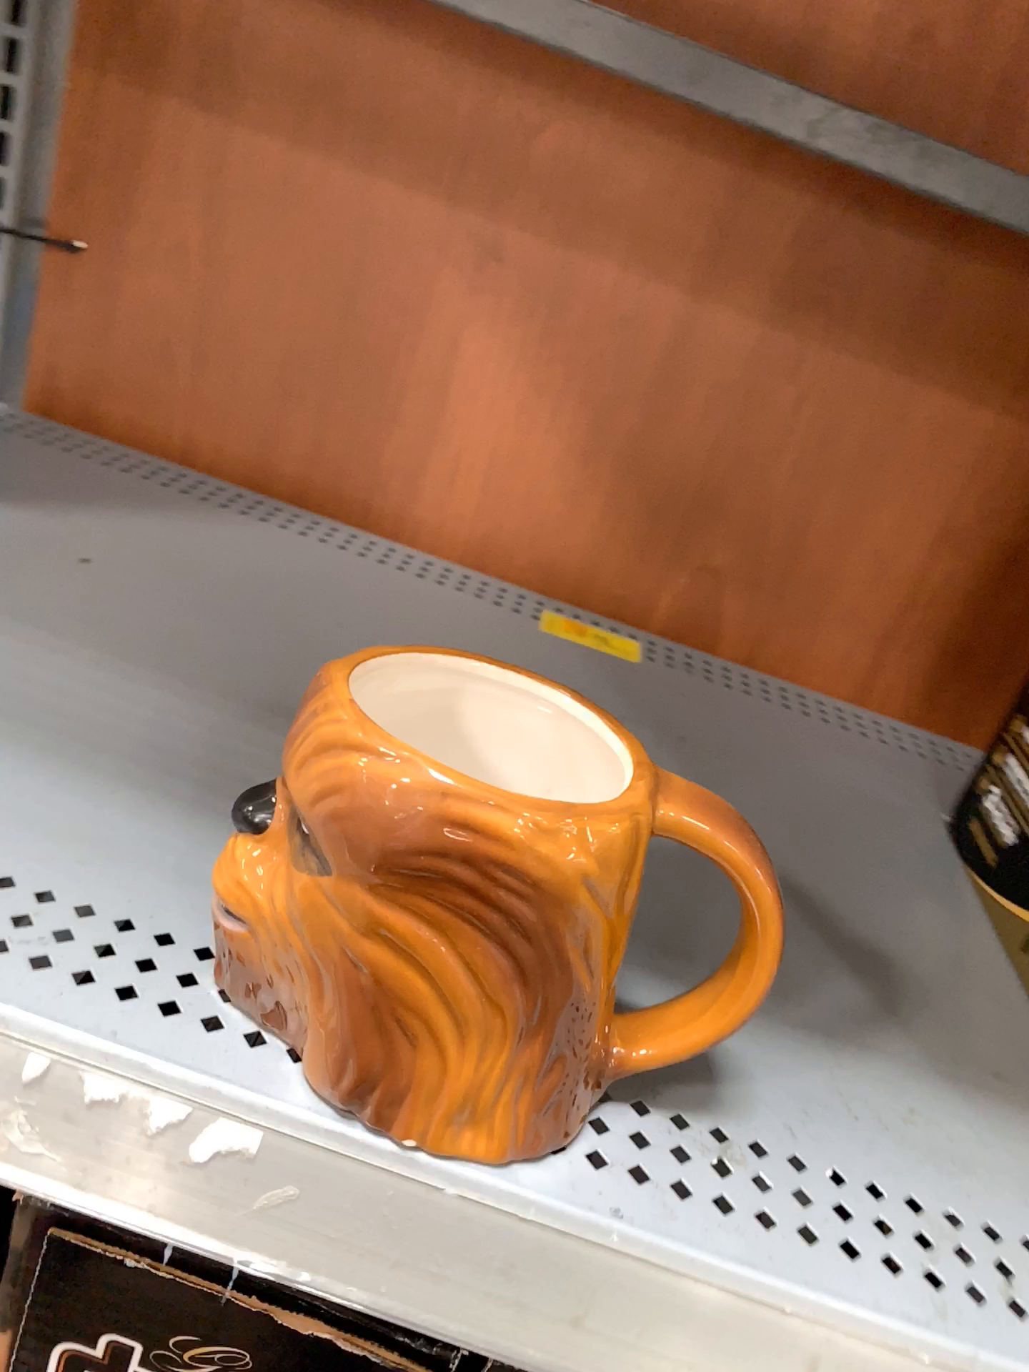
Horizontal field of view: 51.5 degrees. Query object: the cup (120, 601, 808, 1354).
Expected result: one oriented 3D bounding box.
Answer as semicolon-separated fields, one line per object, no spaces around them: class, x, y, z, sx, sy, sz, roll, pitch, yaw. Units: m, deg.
cup;-0.014;0.076;0.298;0.131;0.138;0.098;20;24;0
